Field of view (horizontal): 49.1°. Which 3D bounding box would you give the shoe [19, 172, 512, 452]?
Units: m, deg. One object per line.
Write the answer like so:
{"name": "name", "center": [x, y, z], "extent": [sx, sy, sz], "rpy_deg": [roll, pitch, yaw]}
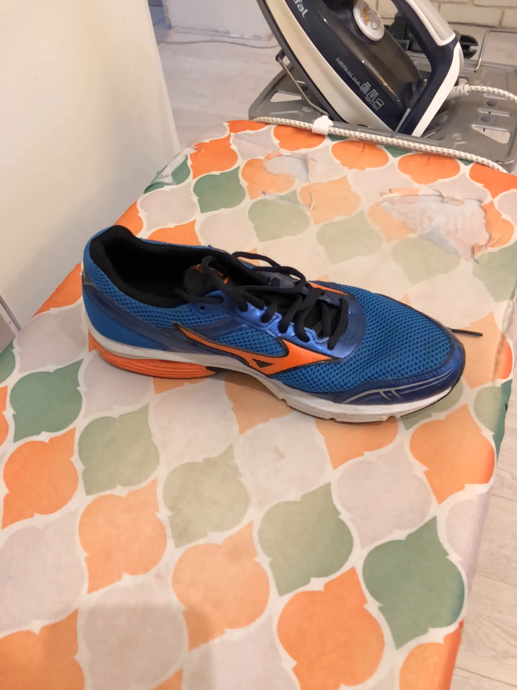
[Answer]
{"name": "shoe", "center": [0.009, -0.029, 0.424], "extent": [0.310, 0.109, 0.121], "rpy_deg": [10, 58, 12]}
